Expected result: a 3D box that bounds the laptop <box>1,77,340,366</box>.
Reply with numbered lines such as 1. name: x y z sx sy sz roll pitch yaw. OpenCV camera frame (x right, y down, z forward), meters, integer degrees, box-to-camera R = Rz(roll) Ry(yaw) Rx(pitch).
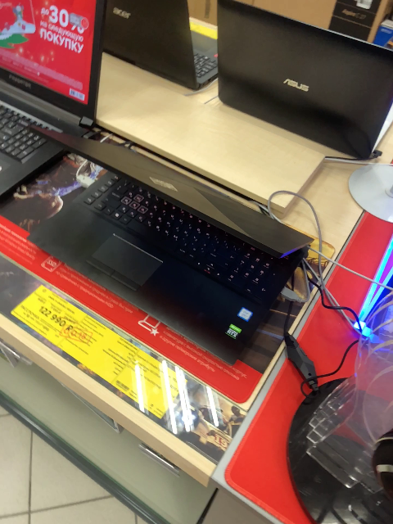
1. laptop: -0.039 -0.085 0.657 0.395 0.166 0.258 28 55 18
